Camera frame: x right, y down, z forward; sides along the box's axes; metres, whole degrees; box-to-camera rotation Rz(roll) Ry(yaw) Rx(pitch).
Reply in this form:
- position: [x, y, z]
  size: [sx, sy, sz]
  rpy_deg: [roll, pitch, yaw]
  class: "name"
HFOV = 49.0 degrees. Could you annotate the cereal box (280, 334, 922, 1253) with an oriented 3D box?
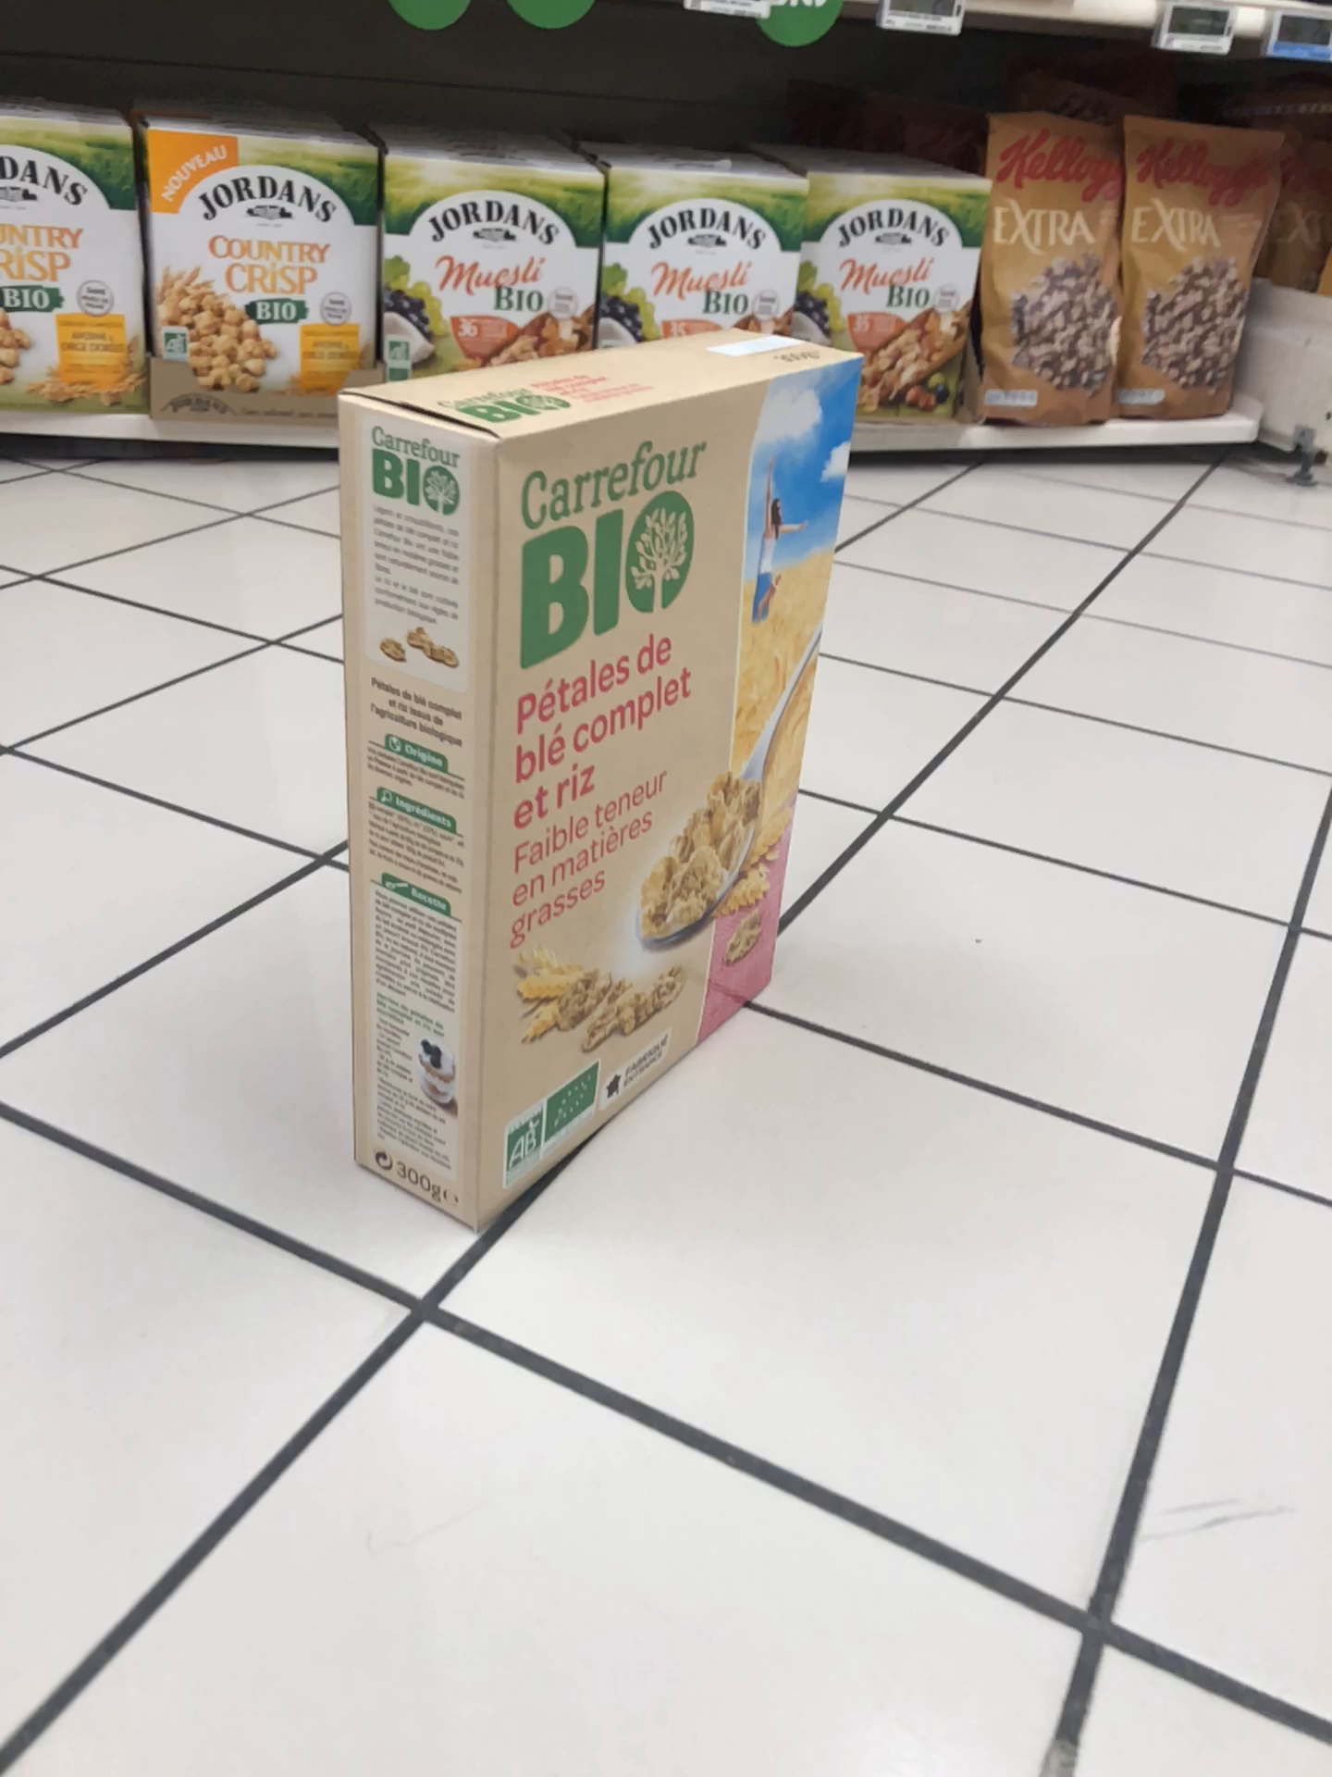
- position: [-0.014, -0.045, 0.488]
  size: [0.080, 0.239, 0.211]
  rpy_deg: [21, 32, 28]
  class: "cereal box"
